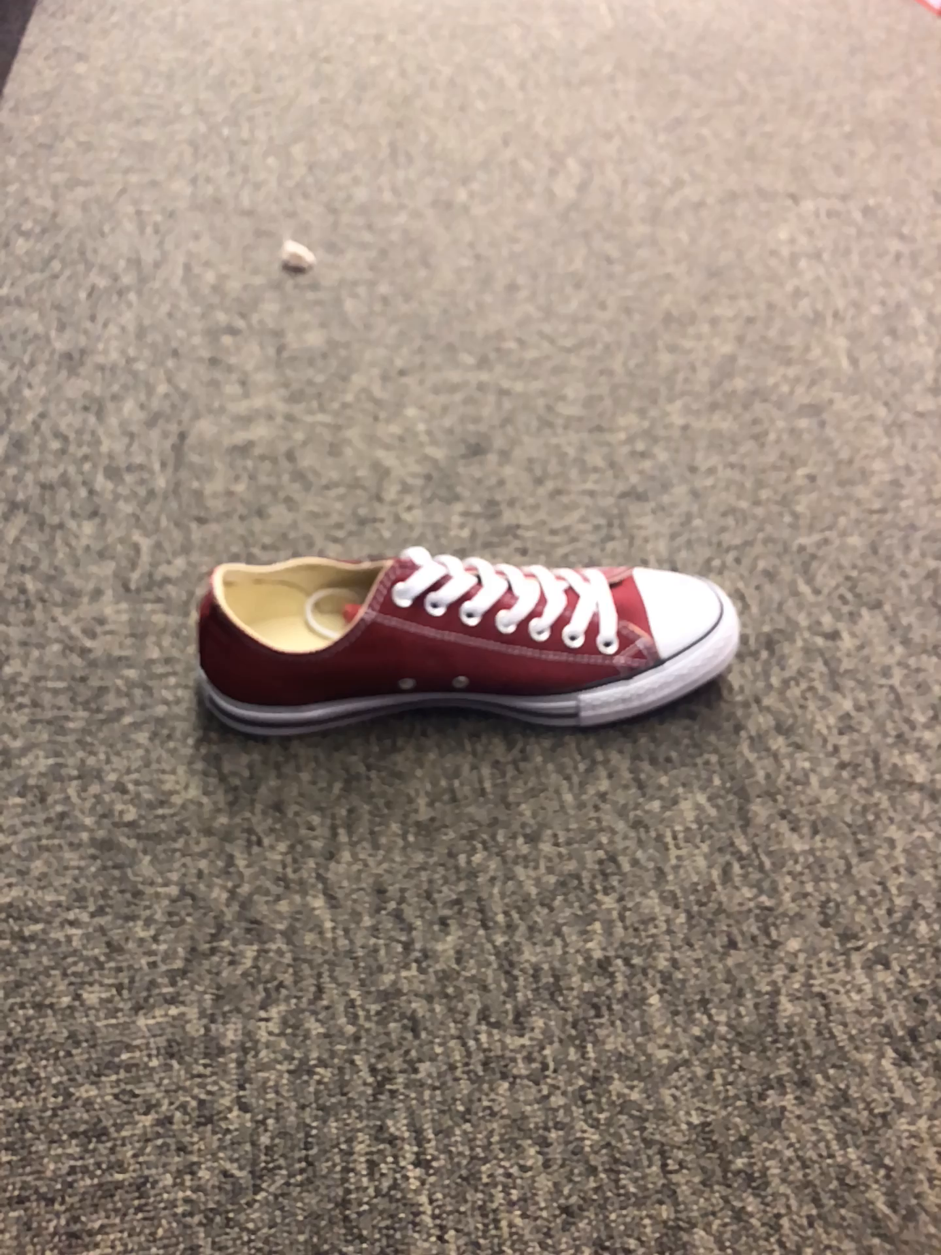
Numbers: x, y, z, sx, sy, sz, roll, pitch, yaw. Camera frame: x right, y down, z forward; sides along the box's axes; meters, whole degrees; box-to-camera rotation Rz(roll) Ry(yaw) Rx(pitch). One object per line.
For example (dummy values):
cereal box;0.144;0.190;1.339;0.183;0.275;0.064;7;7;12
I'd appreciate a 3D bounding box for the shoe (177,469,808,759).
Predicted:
shoe;0.007;-0.010;0.525;0.280;0.089;0.100;-2;46;-7
